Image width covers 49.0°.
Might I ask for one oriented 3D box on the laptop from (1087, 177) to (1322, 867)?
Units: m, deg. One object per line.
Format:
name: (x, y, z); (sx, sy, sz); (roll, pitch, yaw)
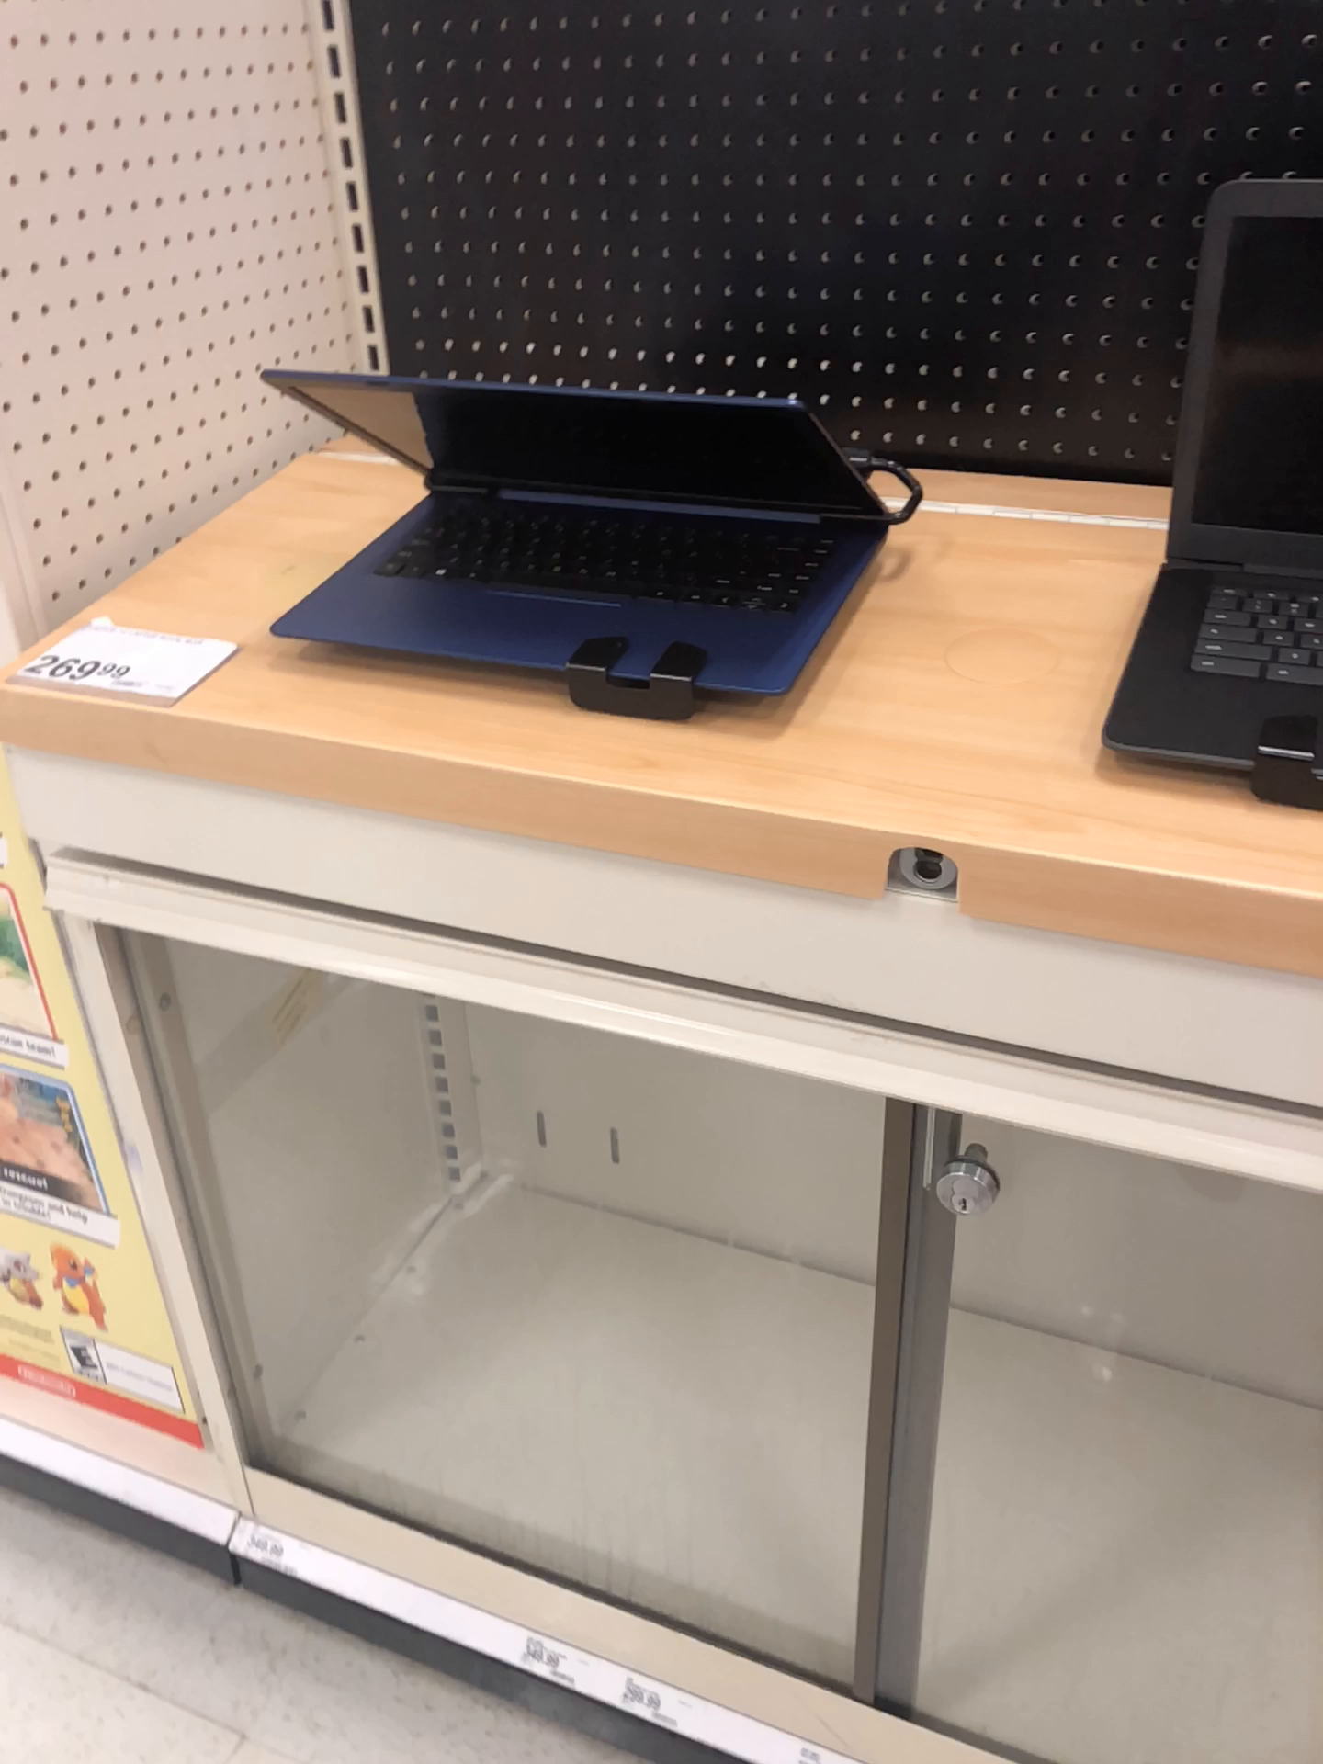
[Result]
laptop: (0.407, -0.183, 0.662); (0.331, 0.206, 0.224); (12, 36, 23)

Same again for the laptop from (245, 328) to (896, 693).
laptop: (-0.047, -0.232, 0.855); (0.321, 0.110, 0.202); (10, 38, 21)
